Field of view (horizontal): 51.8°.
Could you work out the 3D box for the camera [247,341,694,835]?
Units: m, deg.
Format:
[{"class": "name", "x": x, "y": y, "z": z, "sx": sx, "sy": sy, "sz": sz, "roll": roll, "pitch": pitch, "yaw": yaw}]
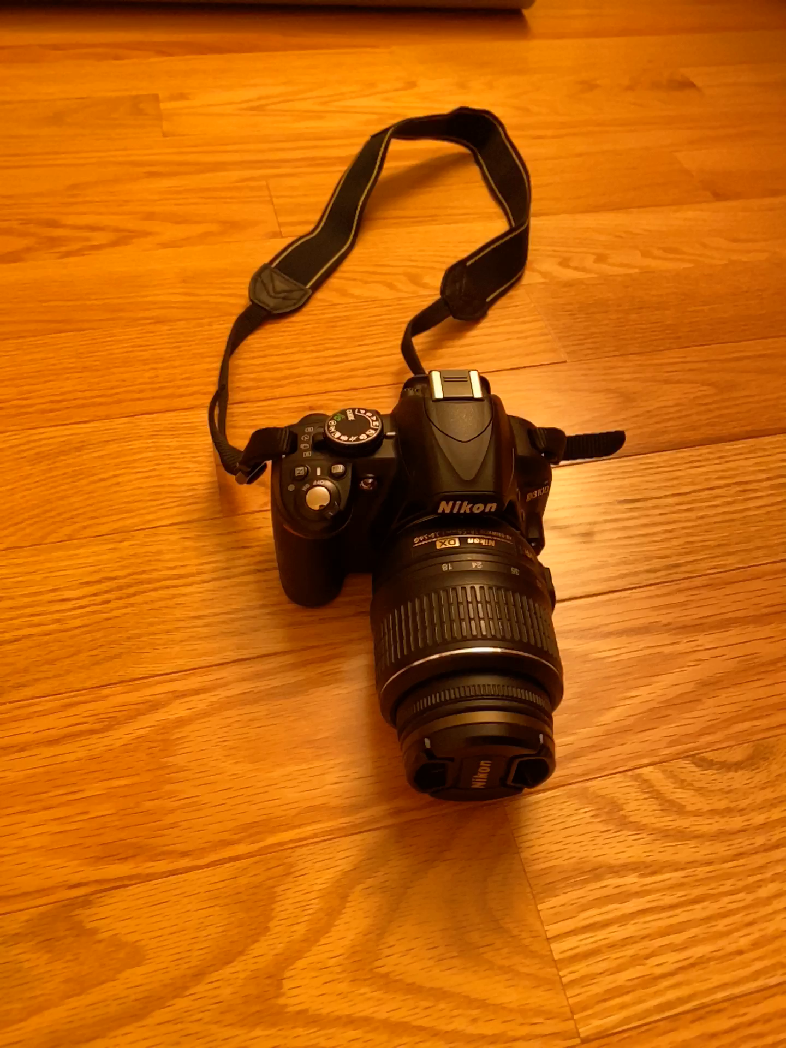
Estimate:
[{"class": "camera", "x": 0.014, "y": 0.019, "z": 0.321, "sx": 0.130, "sy": 0.099, "sz": 0.161, "roll": -3, "pitch": 49, "yaw": -6}]
